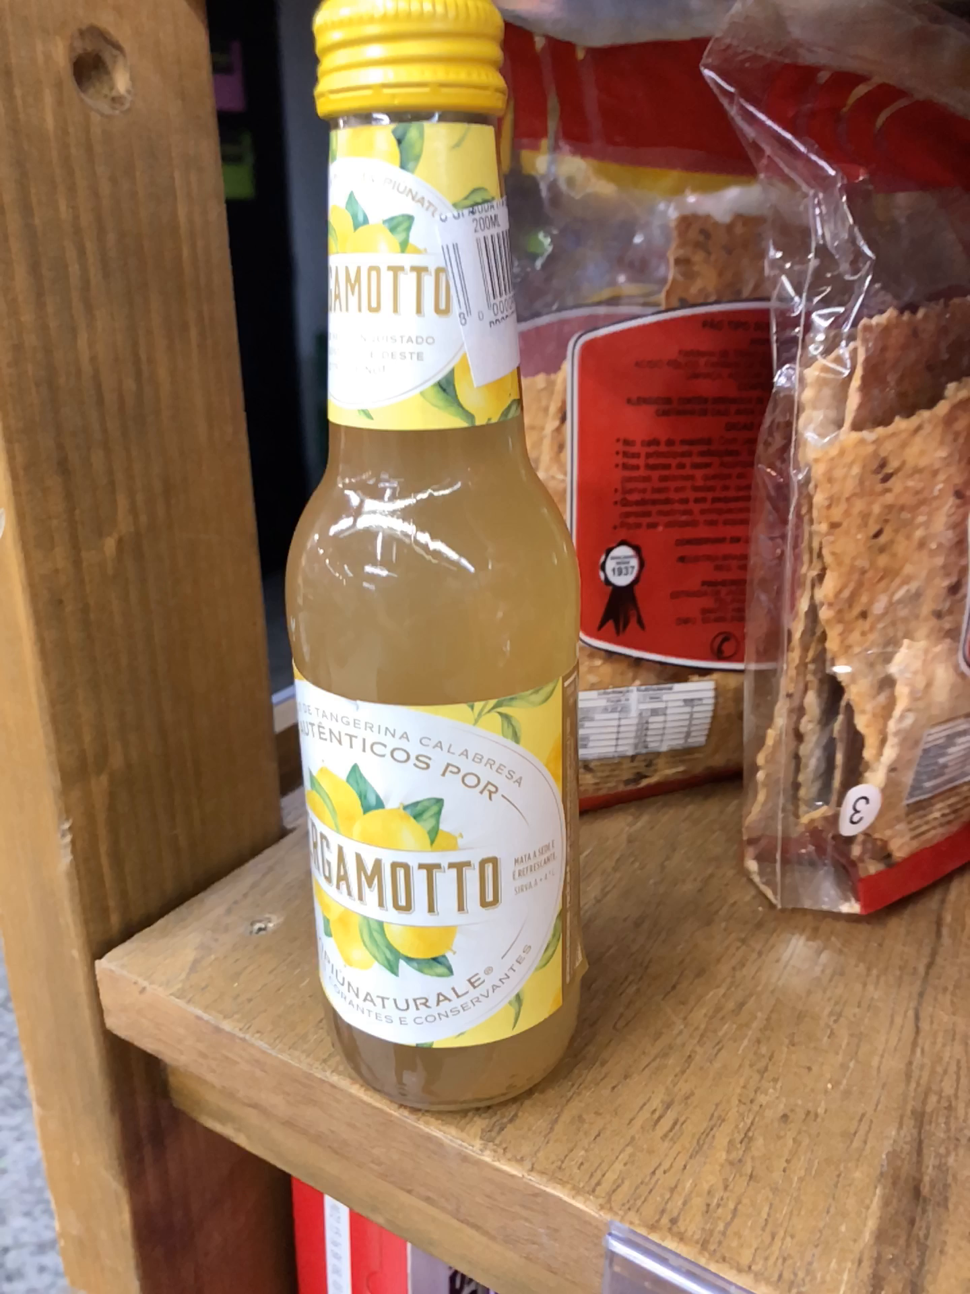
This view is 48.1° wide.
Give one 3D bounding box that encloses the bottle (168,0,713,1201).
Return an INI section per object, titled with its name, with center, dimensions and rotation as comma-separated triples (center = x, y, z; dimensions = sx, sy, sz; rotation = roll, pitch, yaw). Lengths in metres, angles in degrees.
[bottle]
center = -0.004, -0.008, 0.200
dimensions = 0.060, 0.199, 0.060
rotation = 0, 20, 0
